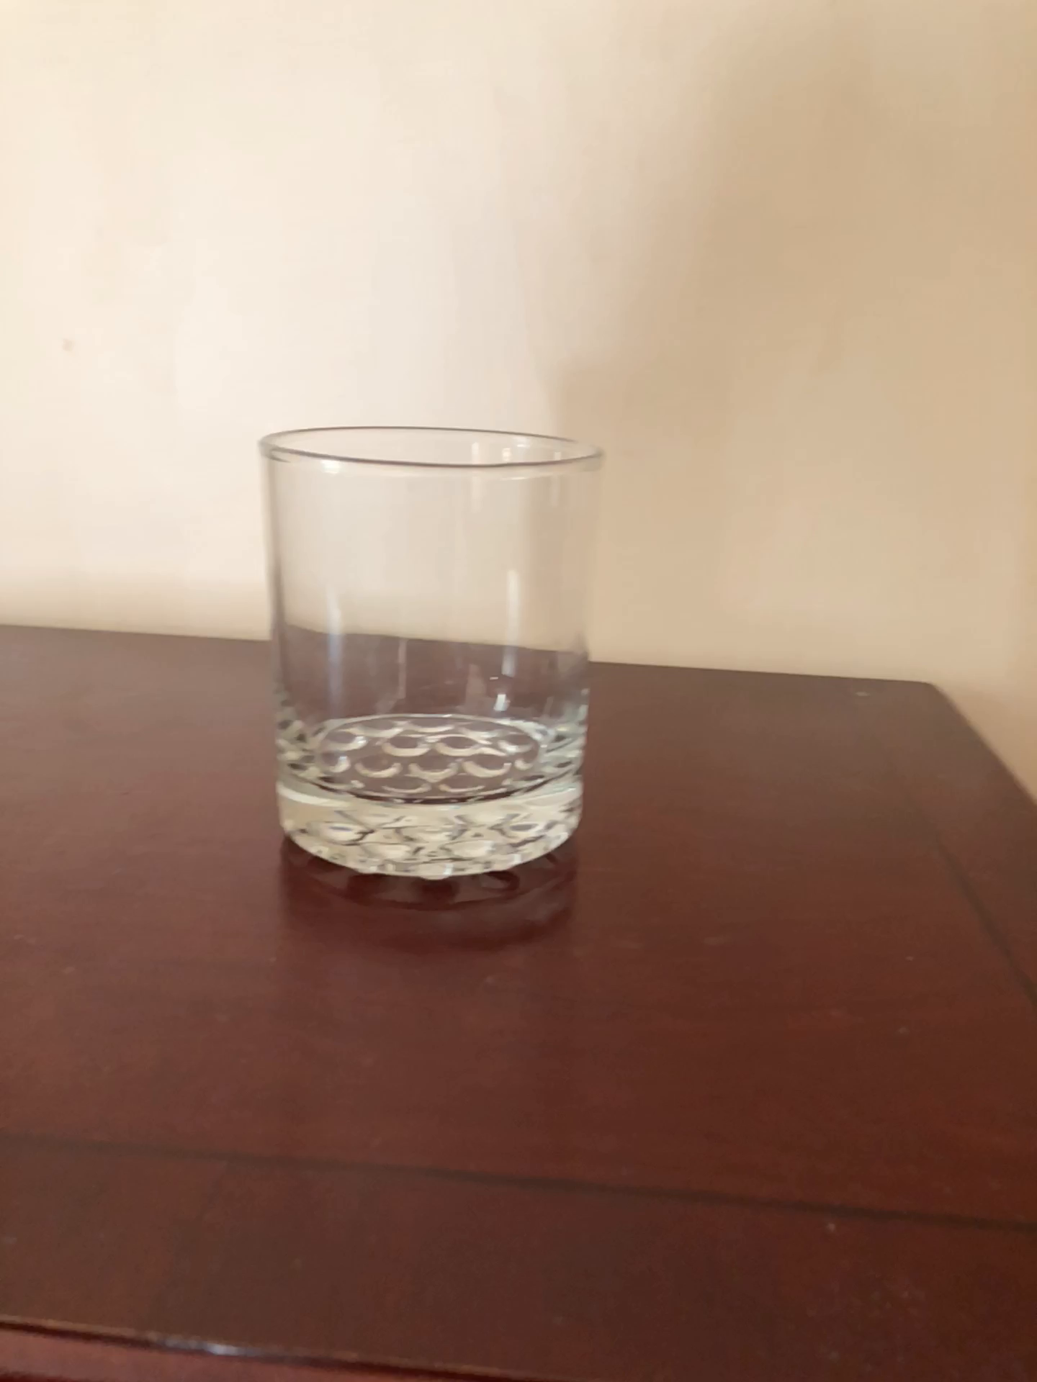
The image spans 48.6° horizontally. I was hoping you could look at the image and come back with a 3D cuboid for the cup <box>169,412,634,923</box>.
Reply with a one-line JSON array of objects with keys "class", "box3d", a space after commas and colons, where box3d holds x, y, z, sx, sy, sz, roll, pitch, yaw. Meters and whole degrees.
[{"class": "cup", "box3d": [-0.023, -0.013, 0.277, 0.081, 0.097, 0.082, 2, 17, -1]}]
